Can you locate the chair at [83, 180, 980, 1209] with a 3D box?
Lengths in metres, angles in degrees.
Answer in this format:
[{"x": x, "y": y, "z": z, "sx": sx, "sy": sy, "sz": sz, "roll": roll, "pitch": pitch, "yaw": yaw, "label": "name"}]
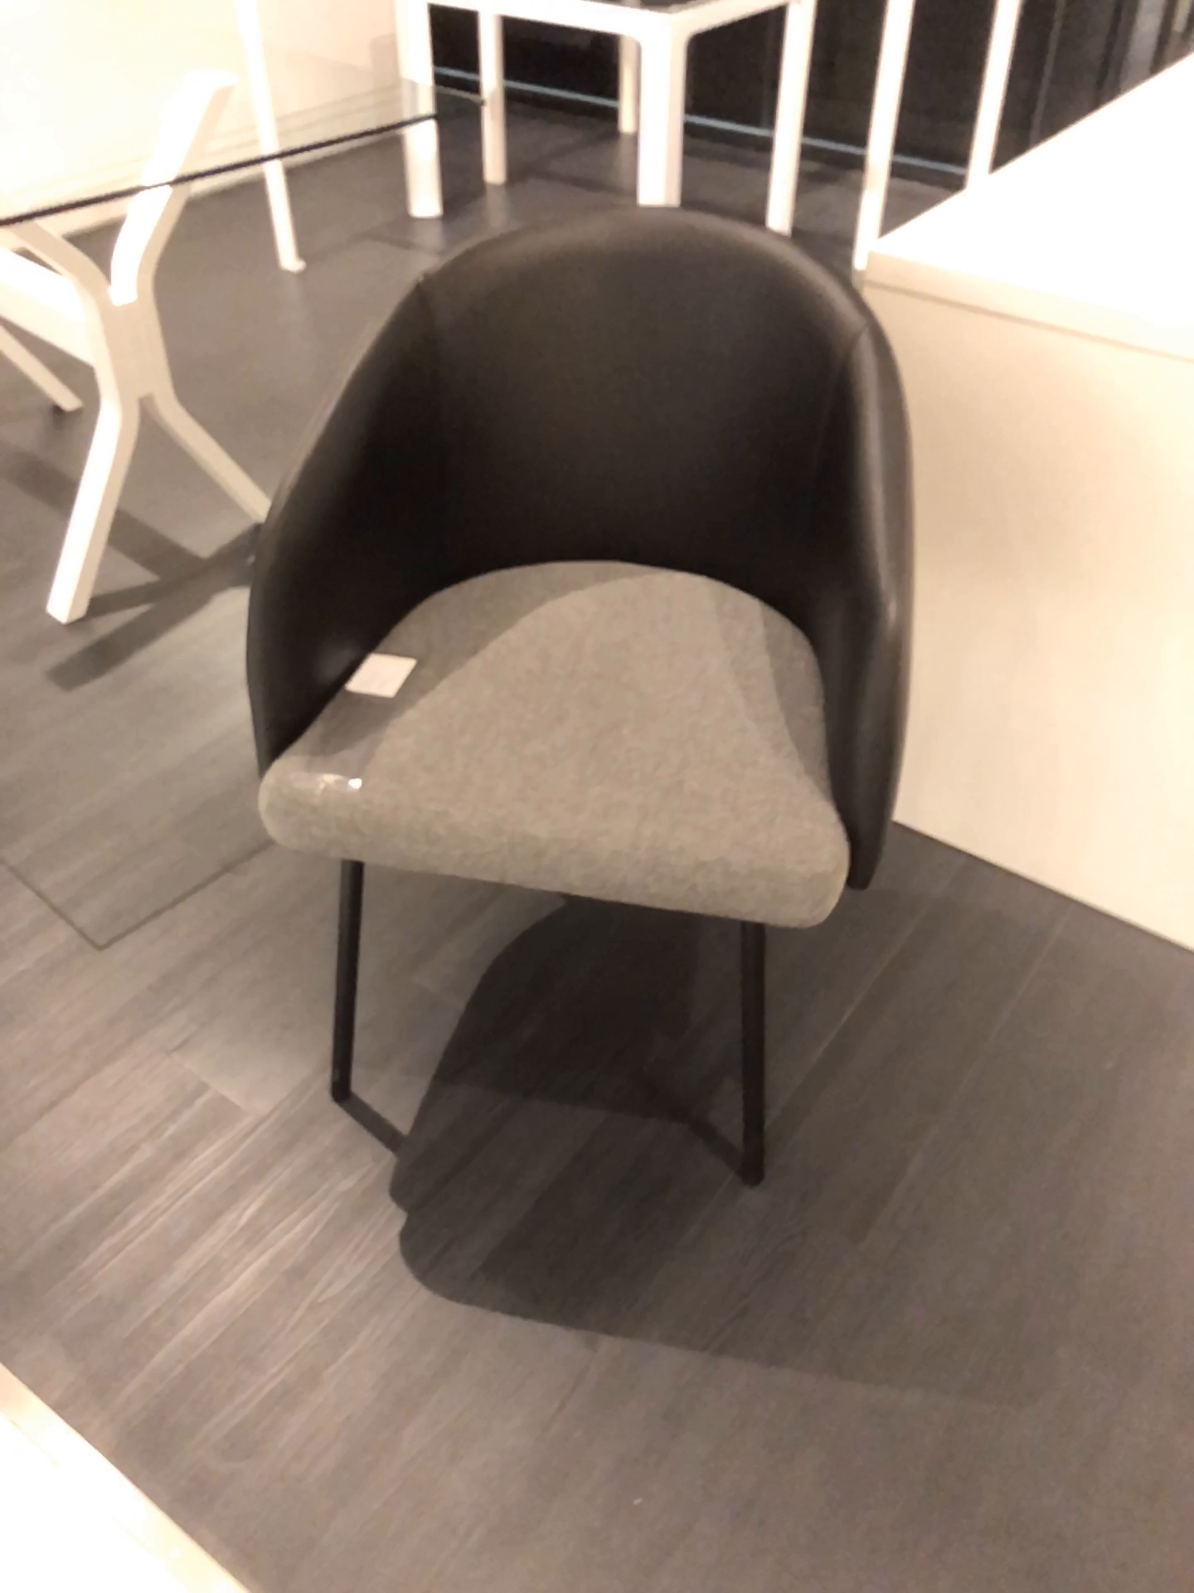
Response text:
[{"x": 0.000, "y": -0.116, "z": 1.348, "sx": 0.610, "sy": 0.764, "sz": 0.595, "roll": 9, "pitch": 41, "yaw": 10, "label": "chair"}]
